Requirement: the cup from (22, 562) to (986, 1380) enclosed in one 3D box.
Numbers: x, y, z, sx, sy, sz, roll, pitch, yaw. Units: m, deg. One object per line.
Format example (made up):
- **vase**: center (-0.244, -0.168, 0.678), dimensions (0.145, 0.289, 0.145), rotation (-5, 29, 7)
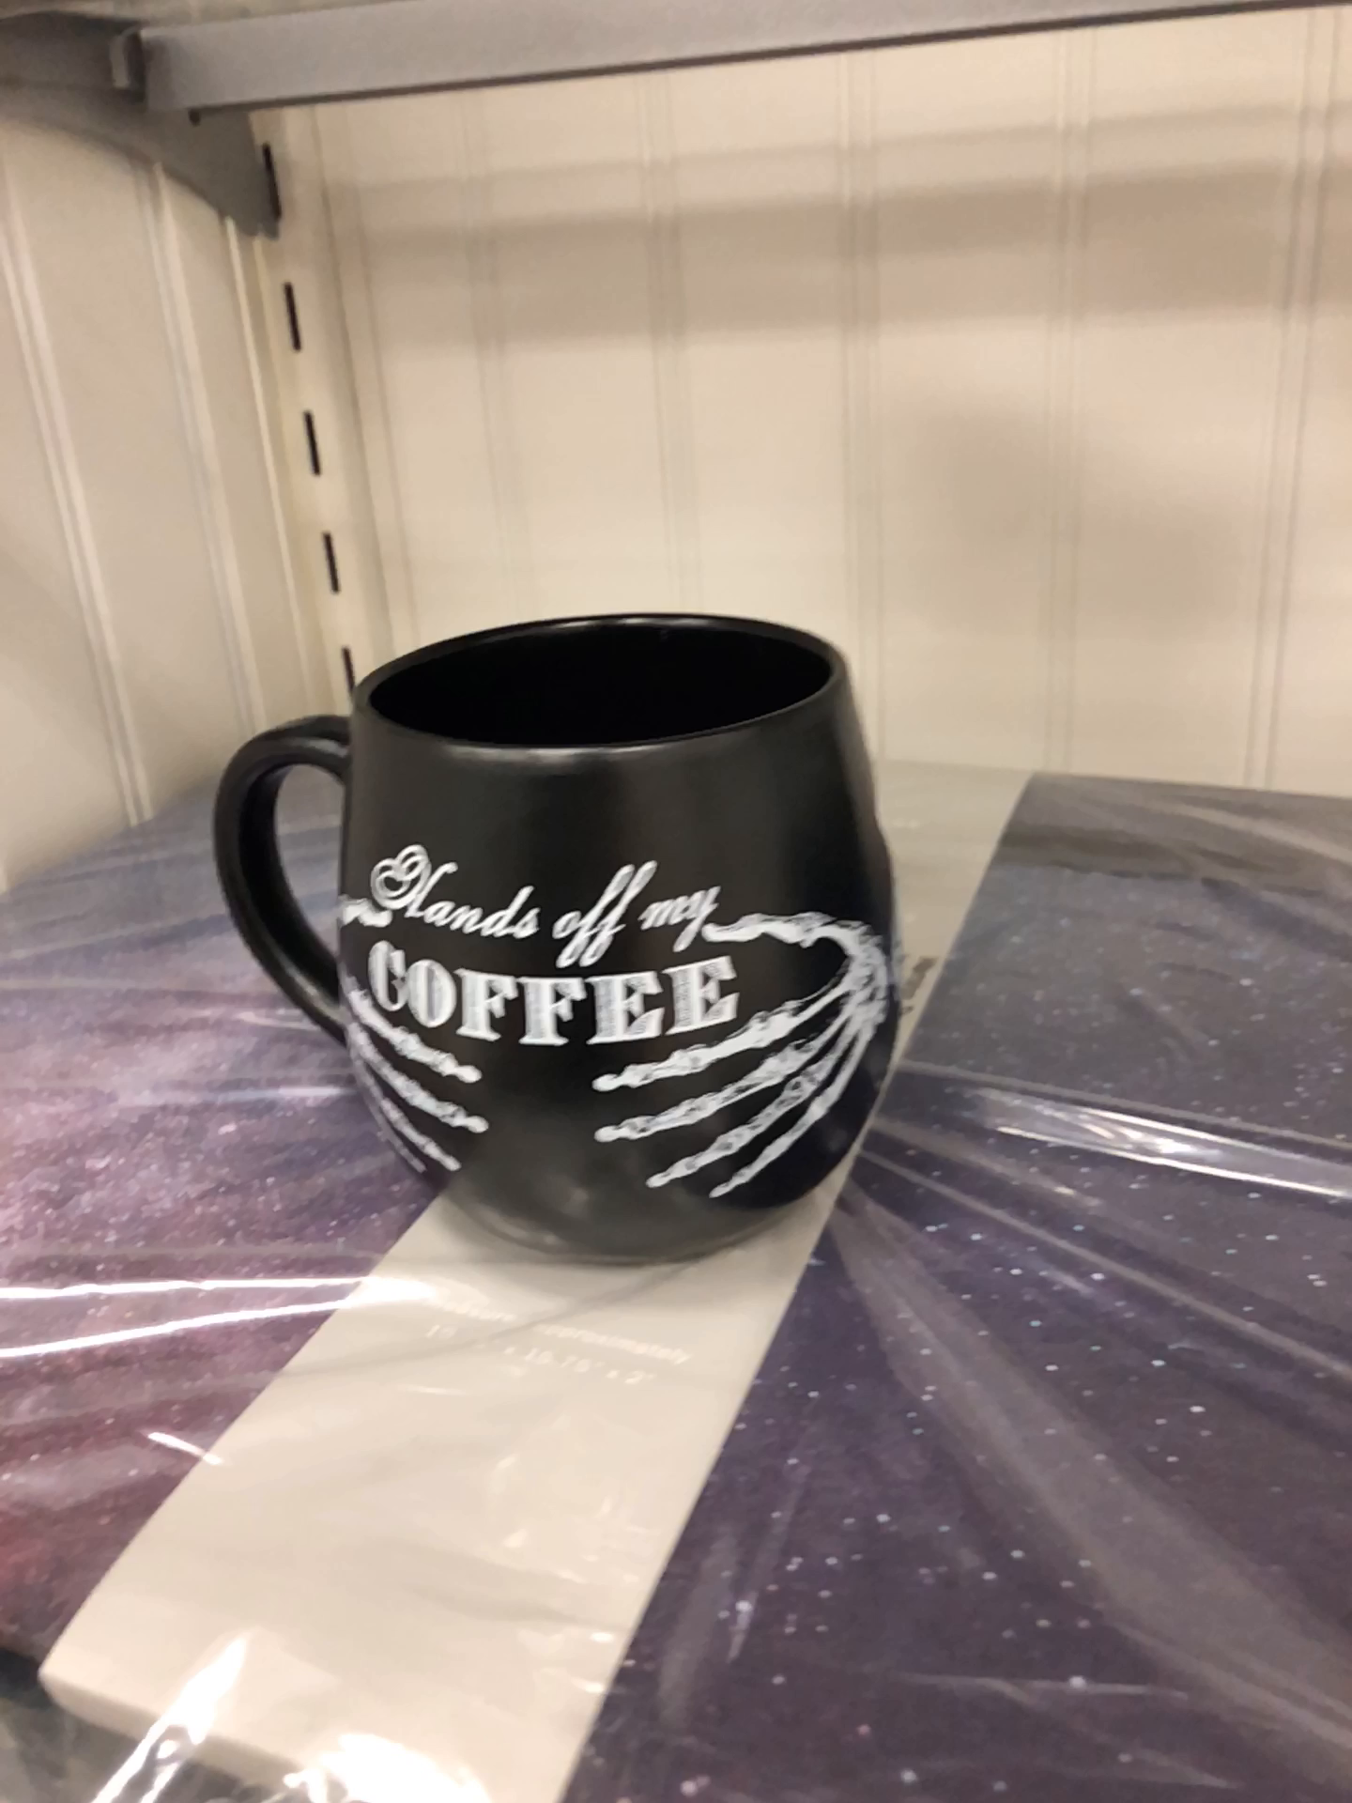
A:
- **cup**: center (-0.026, -0.001, 0.289), dimensions (0.140, 0.099, 0.101), rotation (10, 28, 29)
